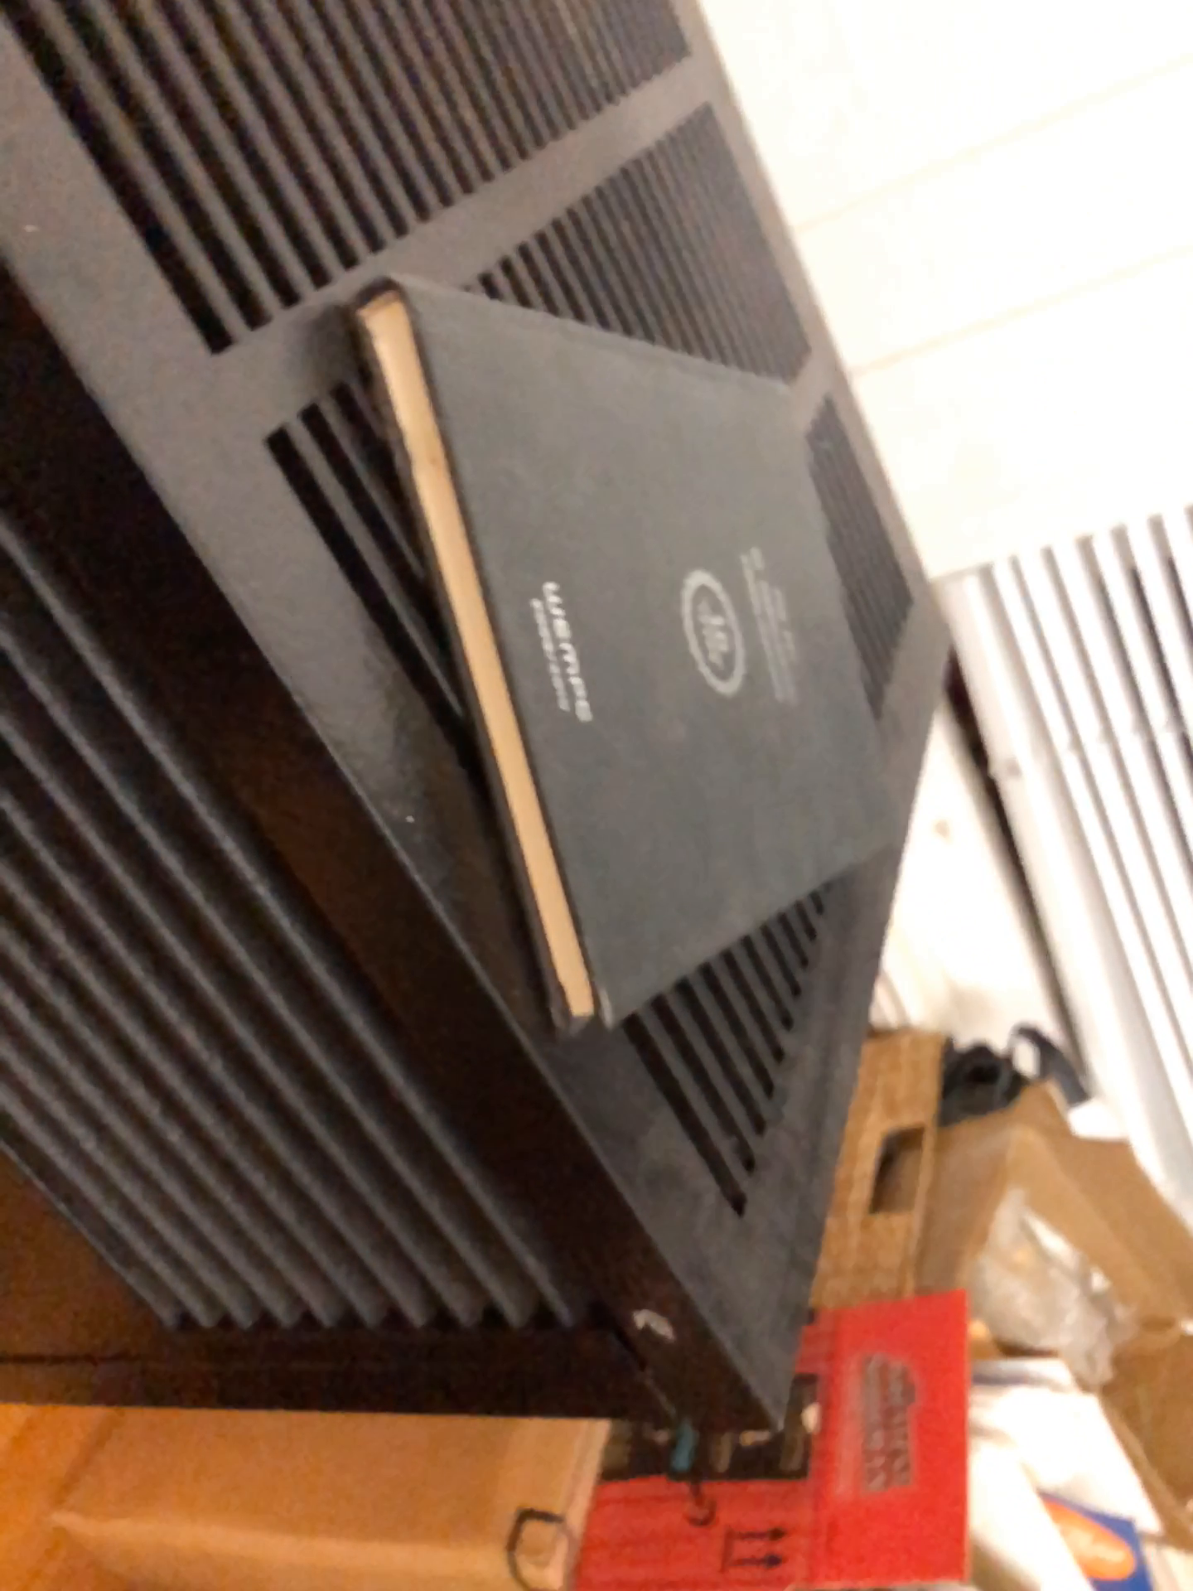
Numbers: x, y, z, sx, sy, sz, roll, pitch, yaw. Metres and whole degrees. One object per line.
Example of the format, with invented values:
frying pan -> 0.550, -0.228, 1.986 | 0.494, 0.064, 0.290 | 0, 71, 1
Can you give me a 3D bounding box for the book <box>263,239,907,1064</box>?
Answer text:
book -> 0.023, -0.047, 0.369 | 0.251, 0.020, 0.160 | -20, 95, -61
